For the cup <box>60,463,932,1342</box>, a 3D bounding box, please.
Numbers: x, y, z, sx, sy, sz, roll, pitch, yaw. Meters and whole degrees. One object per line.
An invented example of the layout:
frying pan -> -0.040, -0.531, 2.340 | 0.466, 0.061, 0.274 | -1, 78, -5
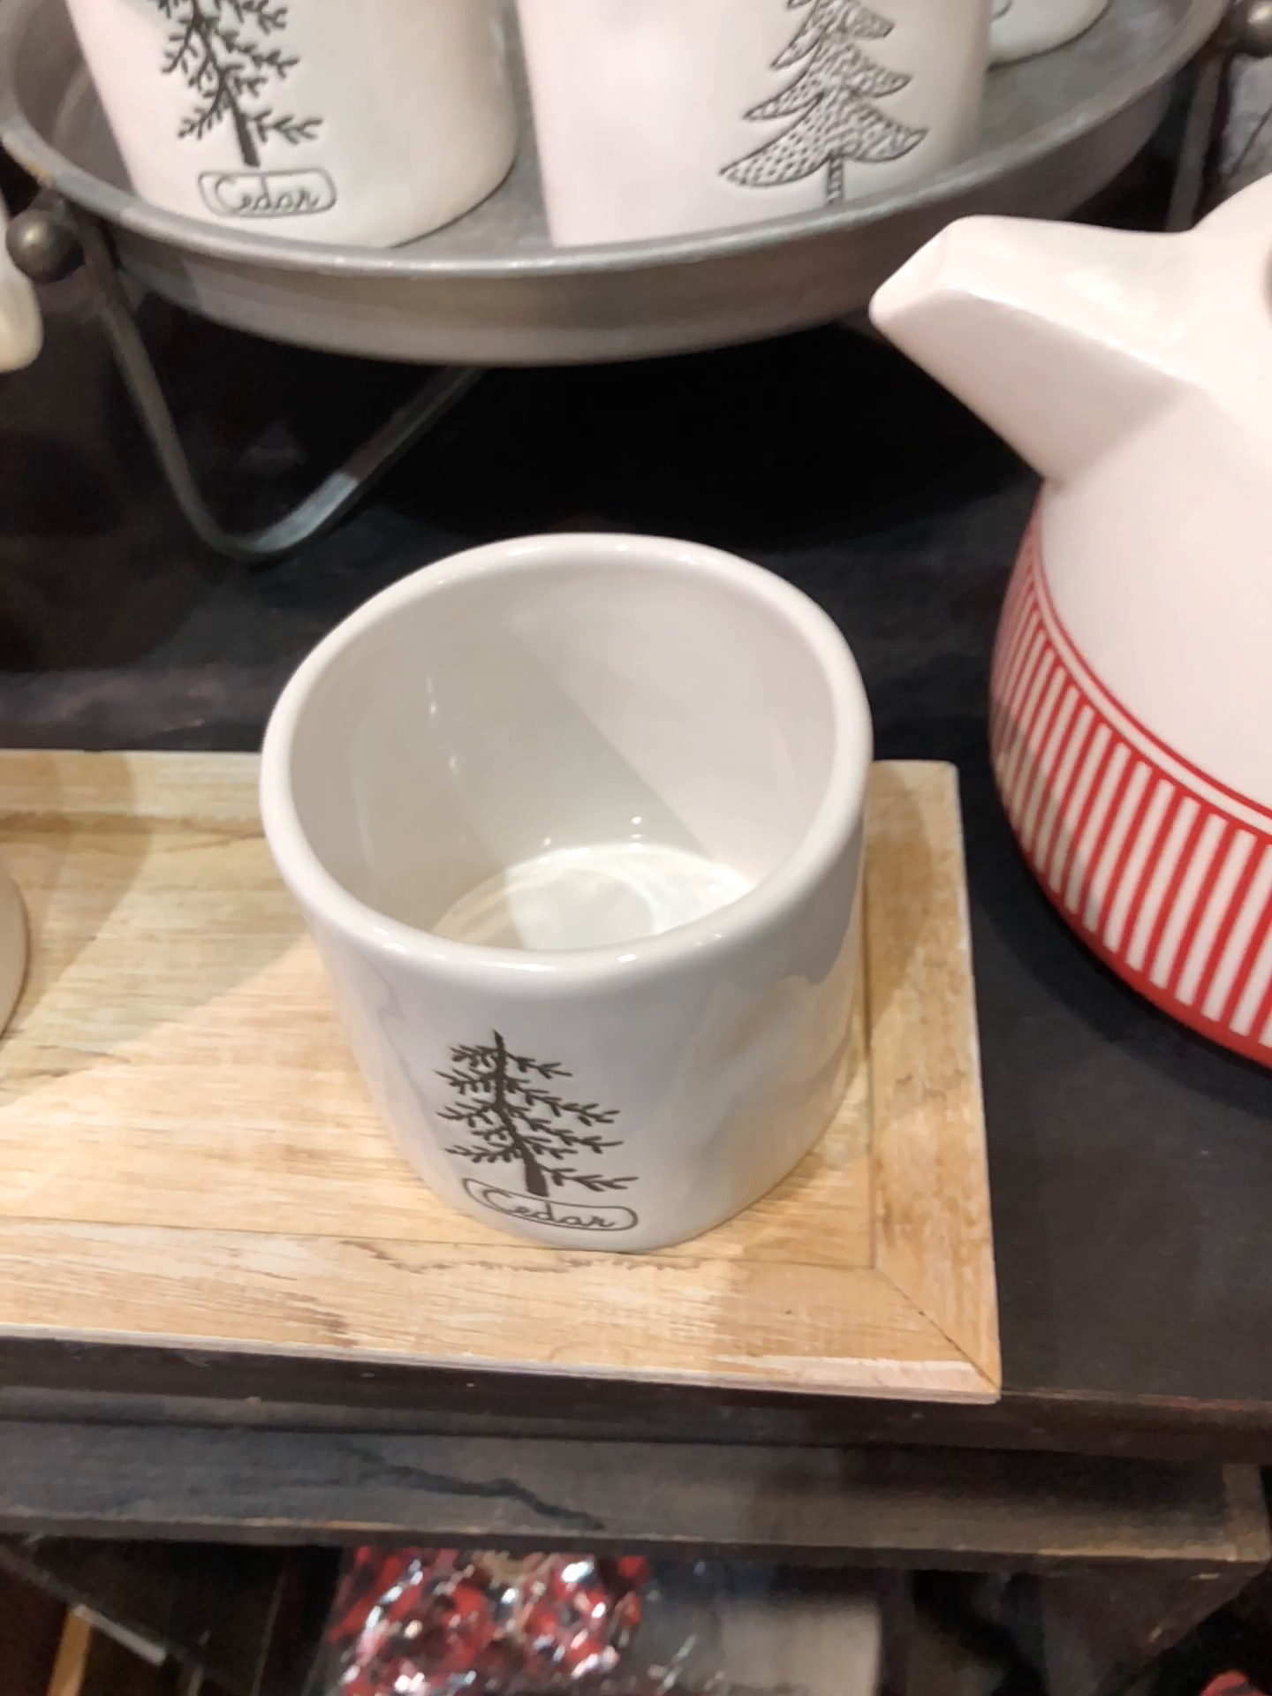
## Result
cup -> -0.011, 0.010, 0.234 | 0.097, 0.100, 0.087 | 10, 54, 14
